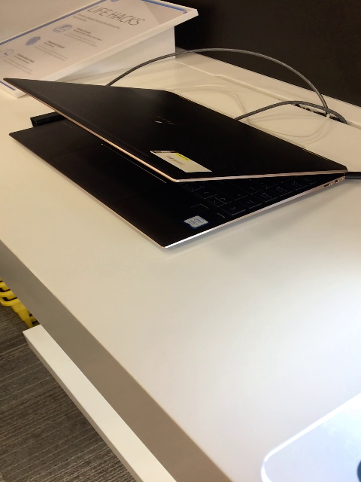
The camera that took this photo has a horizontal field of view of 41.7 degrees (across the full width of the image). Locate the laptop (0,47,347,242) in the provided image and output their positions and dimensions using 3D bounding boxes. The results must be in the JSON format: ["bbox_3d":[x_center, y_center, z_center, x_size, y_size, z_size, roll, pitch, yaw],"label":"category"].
[{"bbox_3d":[-0.032,-0.132,0.542,0.224,0.072,0.307,-27,45,-26],"label":"laptop"}]
